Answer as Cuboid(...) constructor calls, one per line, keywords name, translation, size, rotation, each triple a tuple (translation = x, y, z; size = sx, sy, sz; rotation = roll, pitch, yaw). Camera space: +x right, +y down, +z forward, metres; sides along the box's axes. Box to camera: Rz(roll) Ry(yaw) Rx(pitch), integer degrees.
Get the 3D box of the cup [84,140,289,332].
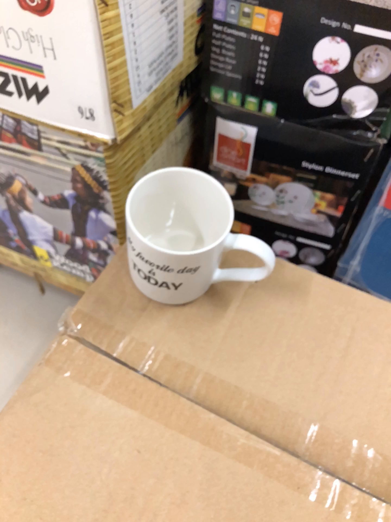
Cuboid(name="cup", translation=(-0.008, -0.016, 0.358), size=(0.130, 0.099, 0.080), rotation=(18, 59, 3))
